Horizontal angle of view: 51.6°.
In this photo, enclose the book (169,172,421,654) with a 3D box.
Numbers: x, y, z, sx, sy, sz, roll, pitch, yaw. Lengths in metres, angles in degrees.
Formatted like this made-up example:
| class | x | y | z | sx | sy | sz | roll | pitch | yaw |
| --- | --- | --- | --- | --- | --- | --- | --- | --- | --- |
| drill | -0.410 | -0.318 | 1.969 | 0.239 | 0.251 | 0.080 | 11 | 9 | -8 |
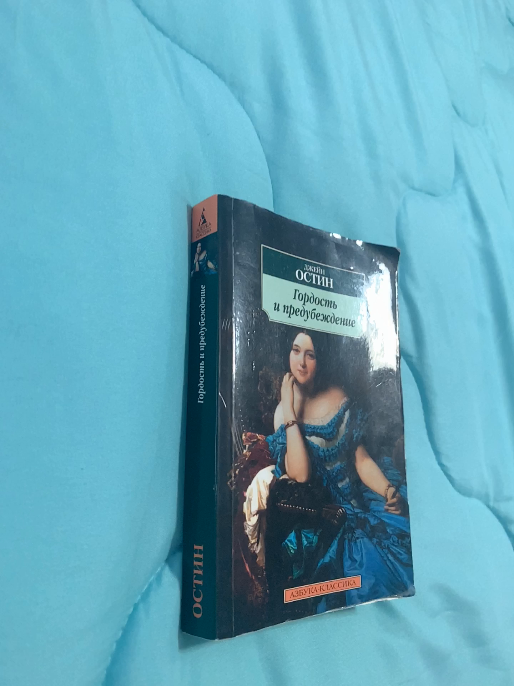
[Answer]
| class | x | y | z | sx | sy | sz | roll | pitch | yaw |
| --- | --- | --- | --- | --- | --- | --- | --- | --- | --- |
| book | 0.020 | 0.028 | 0.244 | 0.111 | 0.044 | 0.173 | 12 | 72 | -43 |
